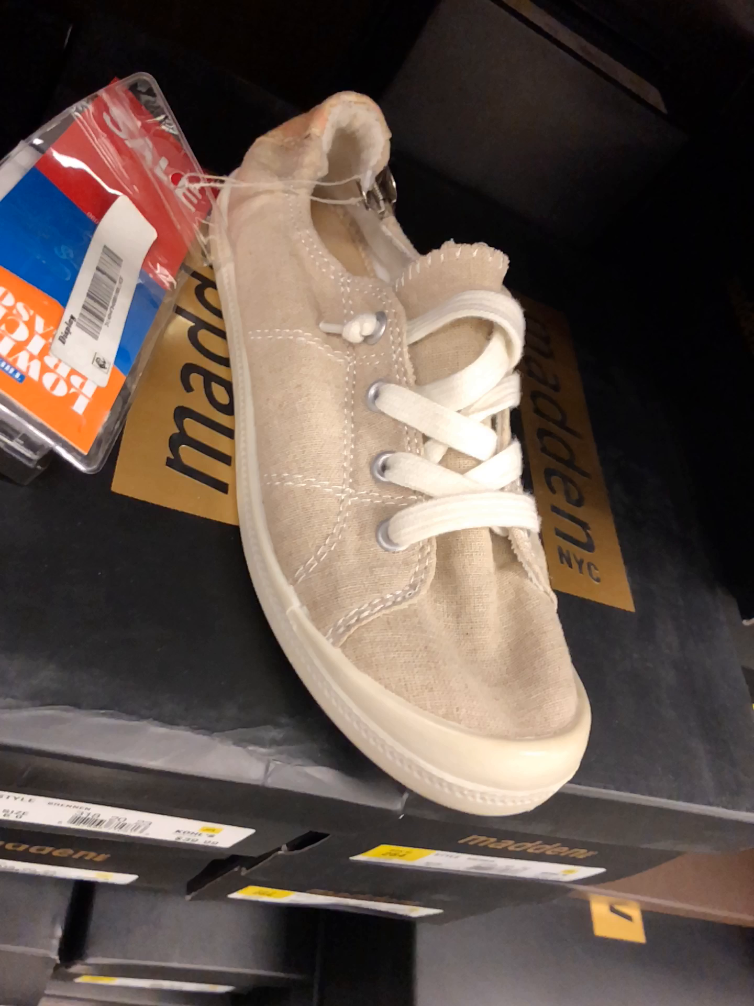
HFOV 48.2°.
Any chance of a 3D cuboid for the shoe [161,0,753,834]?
[{"bbox_3d":[0.009,-0.032,0.237,0.090,0.070,0.210,4,55,-34],"label":"shoe"}]
